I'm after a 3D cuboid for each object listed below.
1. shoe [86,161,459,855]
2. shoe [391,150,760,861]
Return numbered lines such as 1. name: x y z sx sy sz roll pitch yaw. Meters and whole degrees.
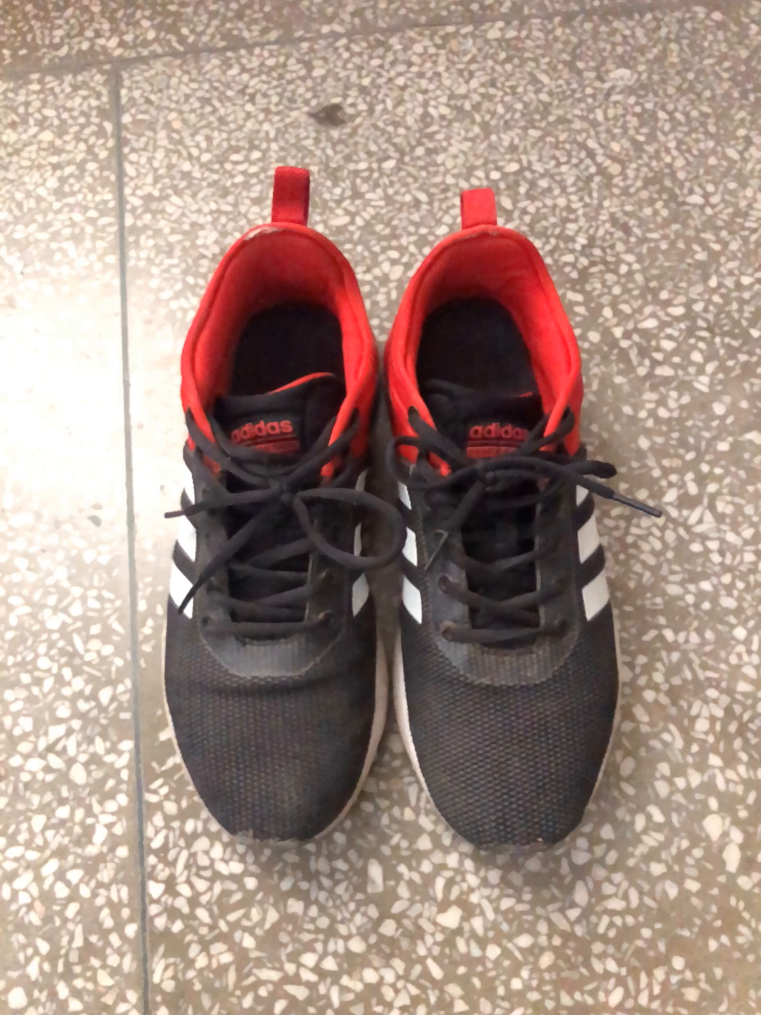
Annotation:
1. shoe: -0.035 0.003 0.418 0.130 0.140 0.310 0 68 1
2. shoe: 0.073 0.001 0.421 0.130 0.140 0.320 -1 68 1
